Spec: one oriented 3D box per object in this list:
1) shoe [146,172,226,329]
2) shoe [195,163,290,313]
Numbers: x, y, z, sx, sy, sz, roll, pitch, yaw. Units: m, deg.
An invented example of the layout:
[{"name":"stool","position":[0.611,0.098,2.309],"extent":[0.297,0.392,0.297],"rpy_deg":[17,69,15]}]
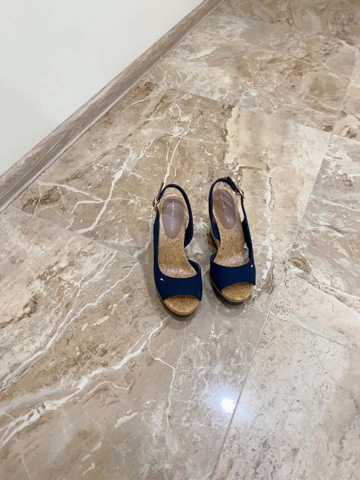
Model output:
[{"name":"shoe","position":[0.000,0.015,0.619],"extent":[0.090,0.145,0.211],"rpy_deg":[-6,52,-7]},{"name":"shoe","position":[0.094,-0.007,0.644],"extent":[0.090,0.145,0.211],"rpy_deg":[-6,52,-7]}]
